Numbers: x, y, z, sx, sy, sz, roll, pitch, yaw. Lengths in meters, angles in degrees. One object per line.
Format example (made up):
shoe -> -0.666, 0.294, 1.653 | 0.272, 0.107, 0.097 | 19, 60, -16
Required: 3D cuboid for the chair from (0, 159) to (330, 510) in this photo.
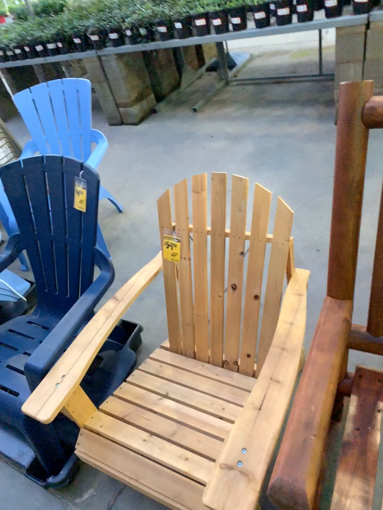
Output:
chair -> -0.010, 0.315, 1.295 | 0.729, 0.887, 0.893 | 9, 47, 28
